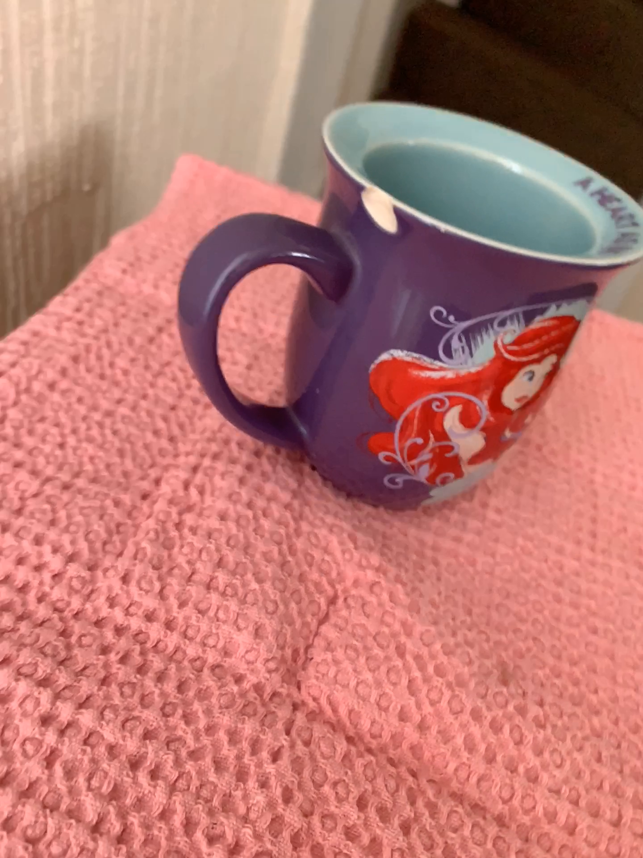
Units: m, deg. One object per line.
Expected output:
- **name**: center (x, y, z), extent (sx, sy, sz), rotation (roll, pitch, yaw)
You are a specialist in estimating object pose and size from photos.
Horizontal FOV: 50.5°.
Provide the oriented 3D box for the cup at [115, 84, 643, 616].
- **cup**: center (0.023, -0.032, 0.216), extent (0.140, 0.099, 0.101), rotation (-12, 49, -31)
